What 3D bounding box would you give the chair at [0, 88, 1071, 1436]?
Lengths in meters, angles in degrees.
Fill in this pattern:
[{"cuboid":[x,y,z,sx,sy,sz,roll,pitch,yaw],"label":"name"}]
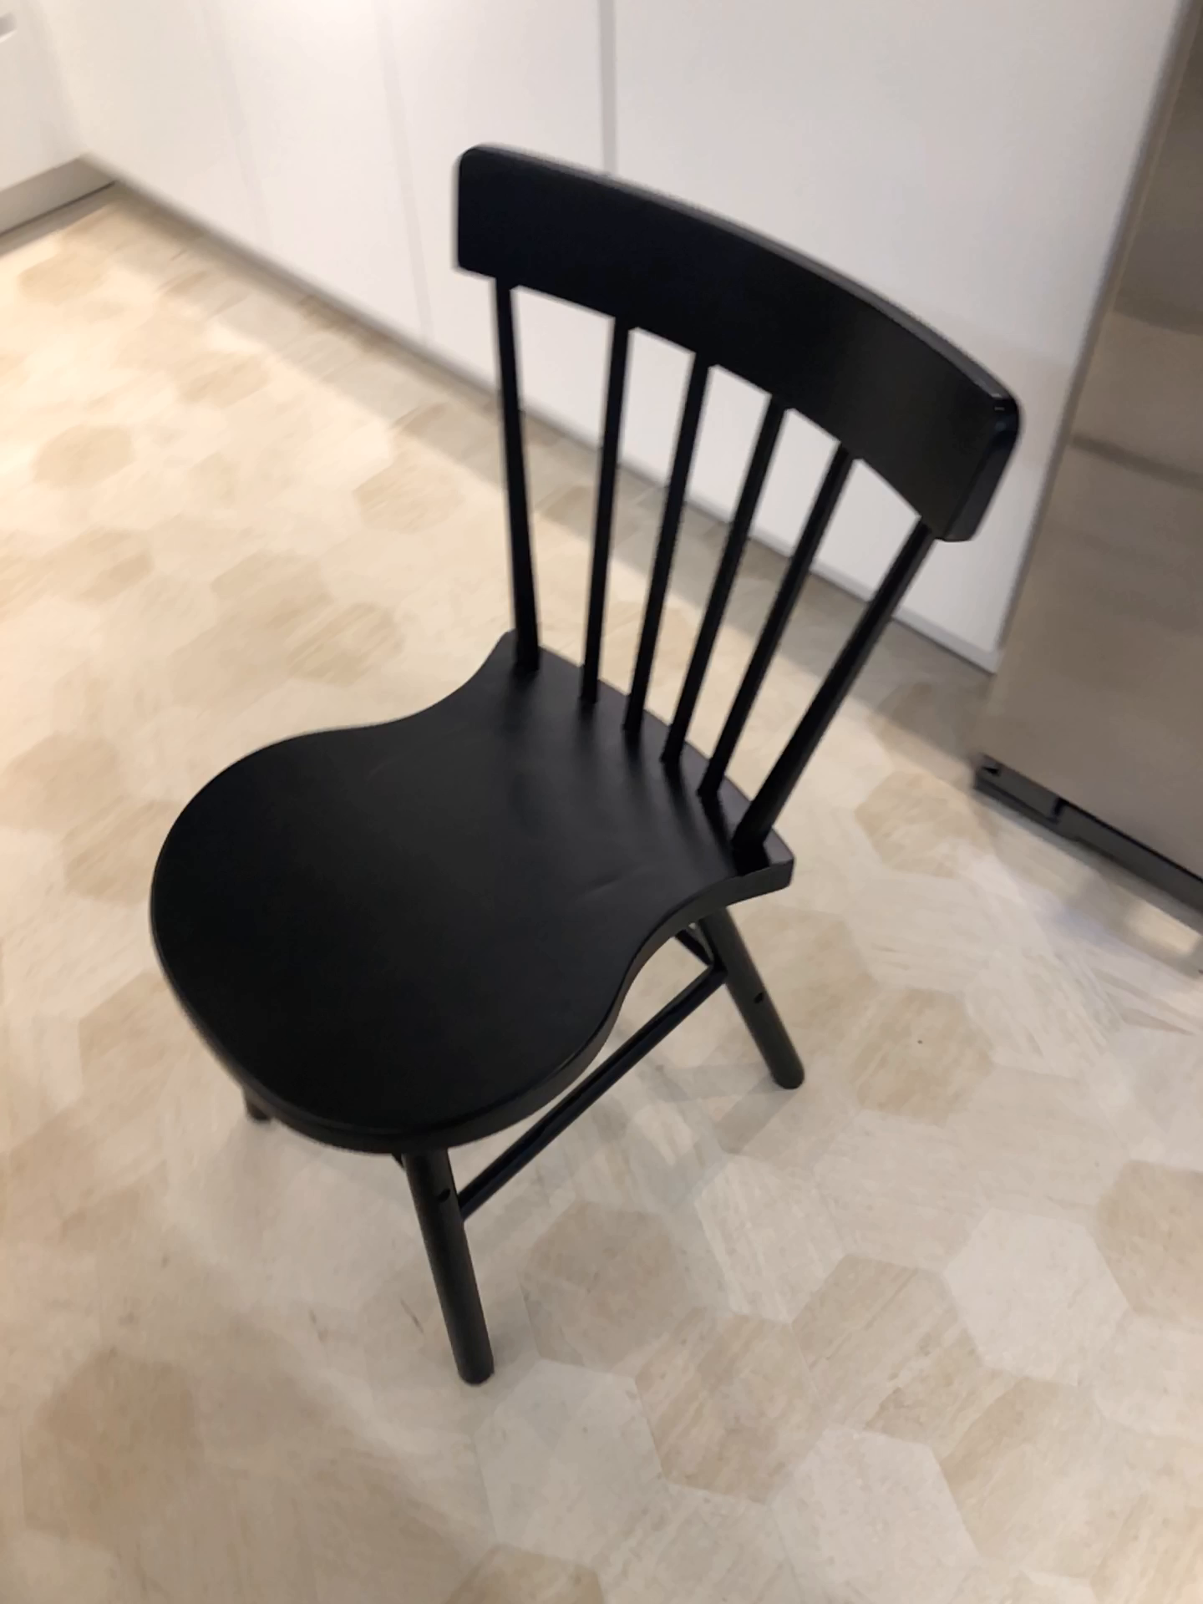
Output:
[{"cuboid":[-0.094,0.007,0.994,0.511,0.746,0.482,-36,59,-24],"label":"chair"}]
